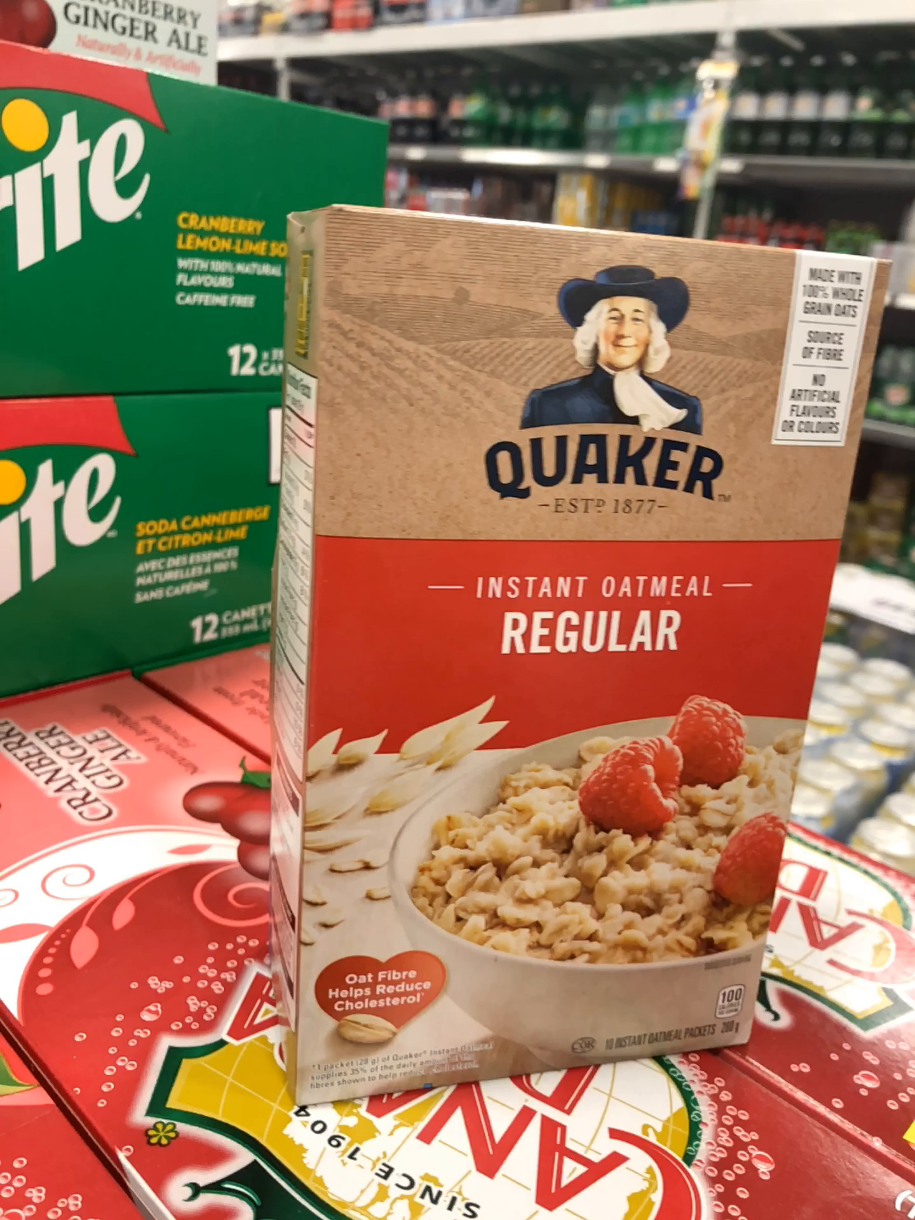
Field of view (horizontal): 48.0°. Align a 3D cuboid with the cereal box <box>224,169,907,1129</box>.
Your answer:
[{"bbox_3d":[0.014,0.010,0.254,0.130,0.199,0.070,0,17,-18],"label":"cereal box"}]
